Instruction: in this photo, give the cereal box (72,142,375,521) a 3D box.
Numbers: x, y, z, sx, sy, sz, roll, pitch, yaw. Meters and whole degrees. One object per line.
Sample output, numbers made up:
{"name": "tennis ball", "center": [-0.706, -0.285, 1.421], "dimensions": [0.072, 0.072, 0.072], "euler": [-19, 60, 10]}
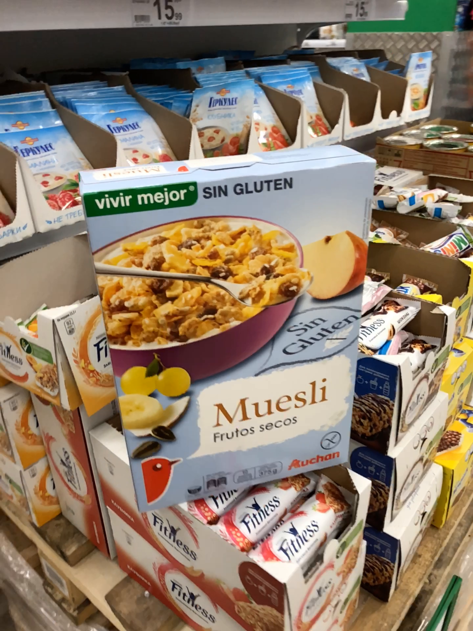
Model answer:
{"name": "cereal box", "center": [-0.005, 0.020, 0.427], "dimensions": [0.200, 0.288, 0.060], "euler": [-9, 29, -14]}
